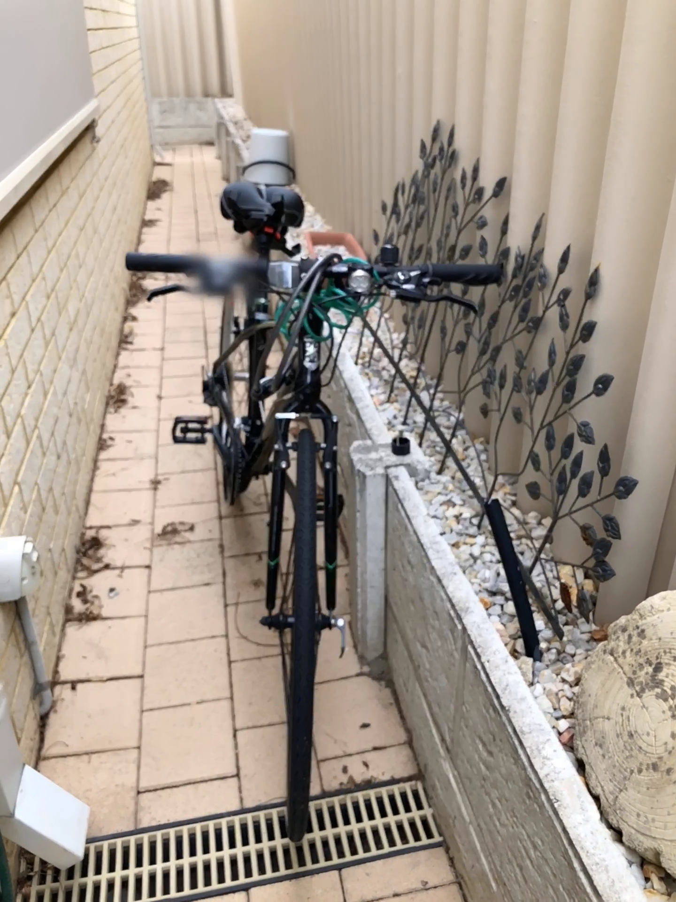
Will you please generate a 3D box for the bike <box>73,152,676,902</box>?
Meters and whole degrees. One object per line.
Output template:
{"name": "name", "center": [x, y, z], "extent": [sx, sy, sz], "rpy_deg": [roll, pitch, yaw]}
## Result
{"name": "bike", "center": [-0.094, -0.094, 1.683], "extent": [0.638, 0.859, 1.707], "rpy_deg": [-5, 29, -10]}
